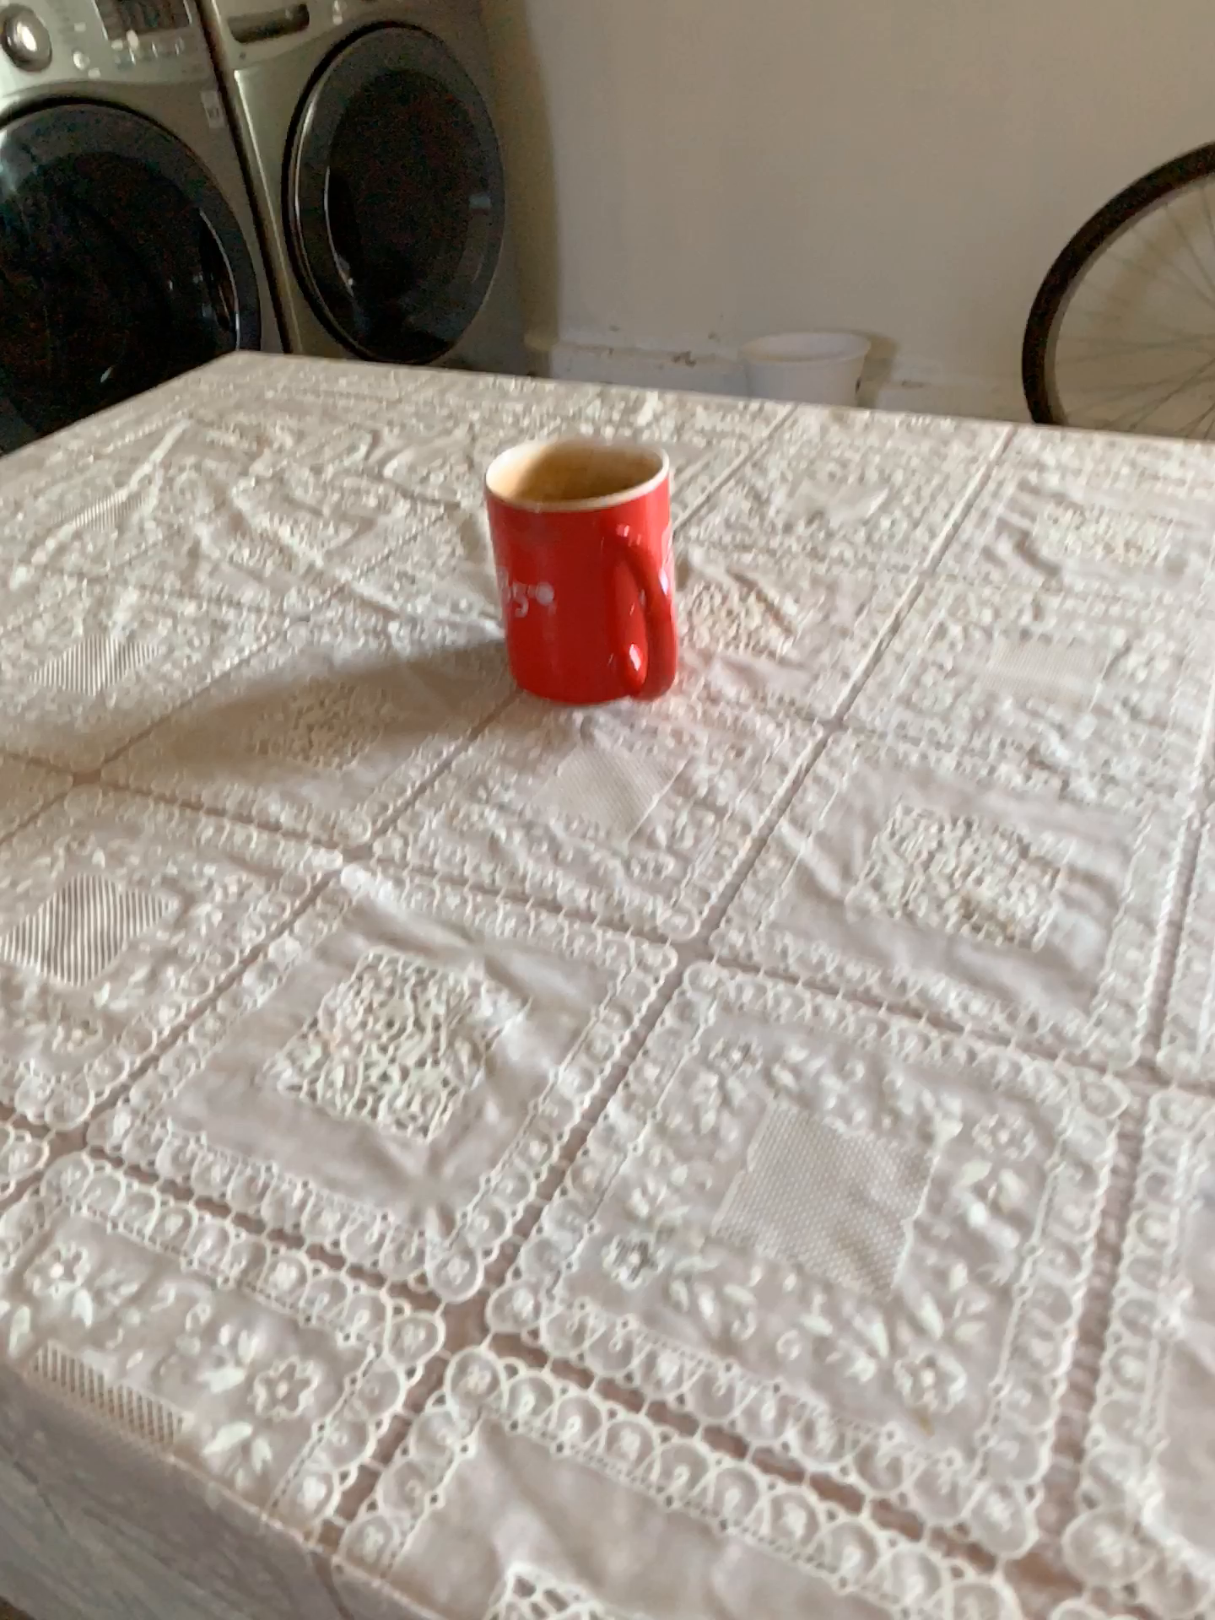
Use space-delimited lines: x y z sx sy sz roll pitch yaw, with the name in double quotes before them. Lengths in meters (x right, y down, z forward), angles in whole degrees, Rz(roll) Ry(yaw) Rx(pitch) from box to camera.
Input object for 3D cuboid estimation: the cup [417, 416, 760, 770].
"cup" -0.009 -0.100 0.544 0.090 0.090 0.131 -23 40 -21
